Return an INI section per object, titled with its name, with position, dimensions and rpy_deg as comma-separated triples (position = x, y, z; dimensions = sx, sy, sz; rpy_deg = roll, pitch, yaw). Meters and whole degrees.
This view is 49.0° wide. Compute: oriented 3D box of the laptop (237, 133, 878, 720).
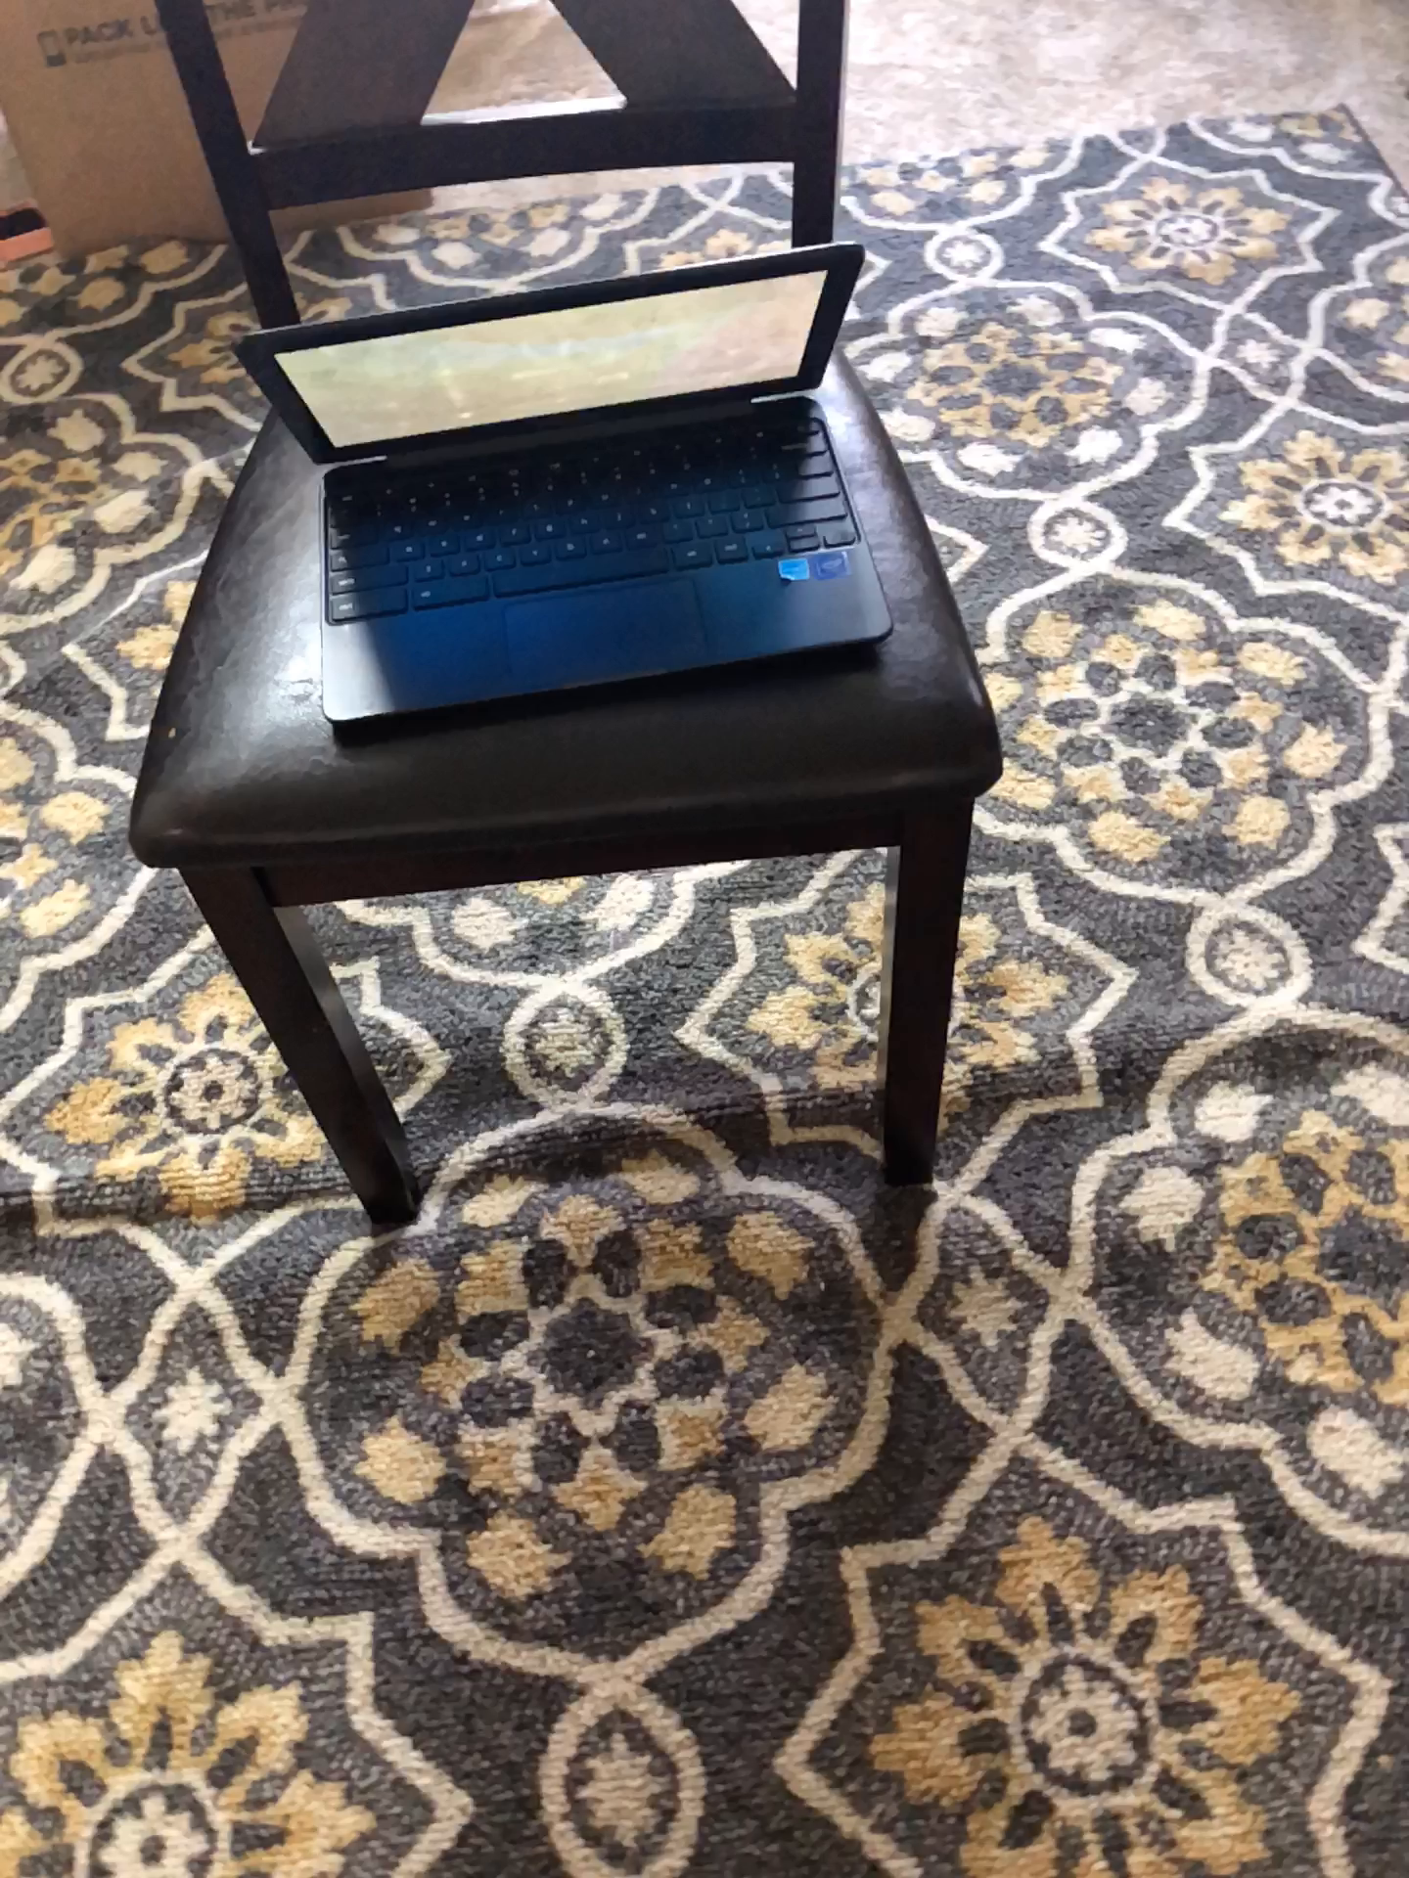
[laptop]
position = -0.069, -0.248, 0.748
dimensions = 0.263, 0.155, 0.192
rpy_deg = -9, 54, -3
